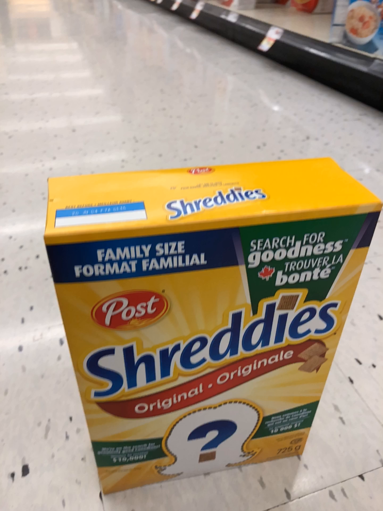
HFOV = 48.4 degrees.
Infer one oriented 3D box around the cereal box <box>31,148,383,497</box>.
[{"bbox_3d":[0.008,0.079,0.365,0.210,0.318,0.070,-7,40,-11],"label":"cereal box"}]
